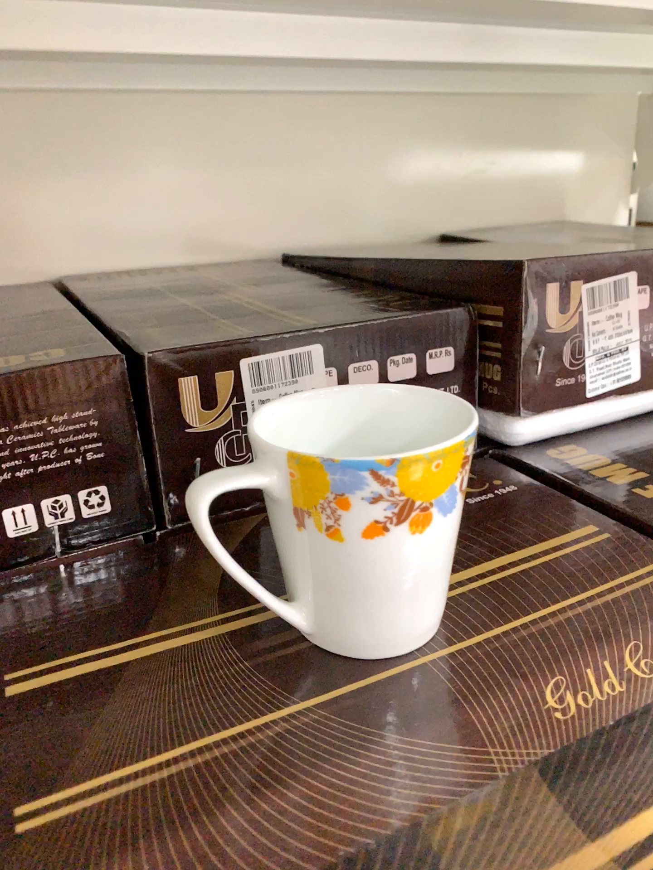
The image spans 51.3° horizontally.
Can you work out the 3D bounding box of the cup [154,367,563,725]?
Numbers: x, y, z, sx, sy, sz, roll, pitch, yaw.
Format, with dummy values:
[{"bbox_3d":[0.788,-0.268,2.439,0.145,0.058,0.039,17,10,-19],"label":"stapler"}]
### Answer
[{"bbox_3d":[0.007,0.022,0.198,0.092,0.058,0.068,-12,22,-23],"label":"cup"}]
